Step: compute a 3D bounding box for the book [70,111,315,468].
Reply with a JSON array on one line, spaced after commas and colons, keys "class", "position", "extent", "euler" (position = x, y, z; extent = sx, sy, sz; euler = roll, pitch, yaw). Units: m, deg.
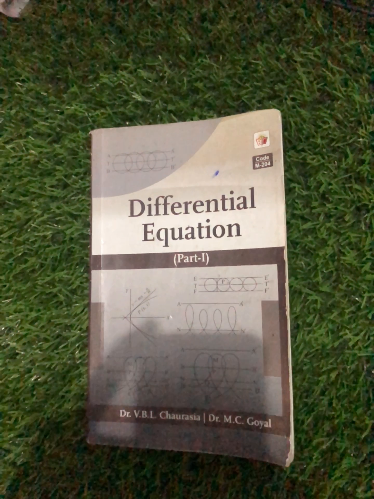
[{"class": "book", "position": [0.002, 0.021, 0.263], "extent": [0.140, 0.030, 0.200], "euler": [-2, 83, 11]}]
